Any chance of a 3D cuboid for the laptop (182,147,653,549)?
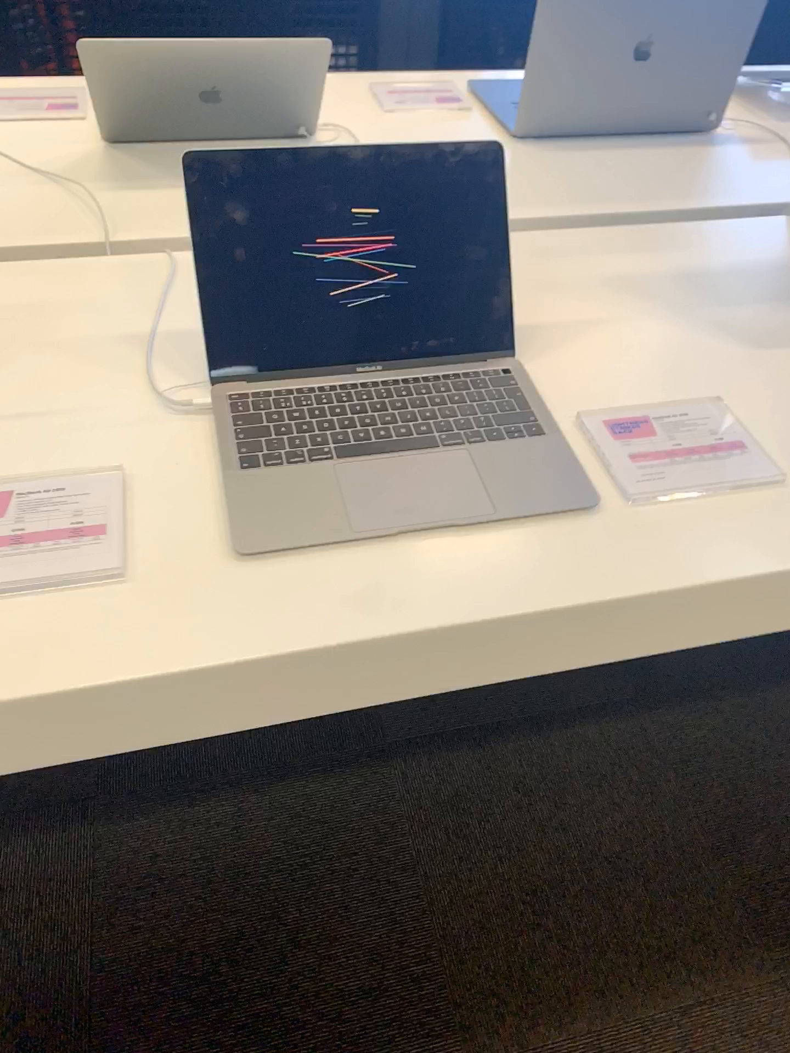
[{"bbox_3d":[-0.011,-0.173,0.689,0.289,0.160,0.331,-8,47,-13],"label":"laptop"}]
